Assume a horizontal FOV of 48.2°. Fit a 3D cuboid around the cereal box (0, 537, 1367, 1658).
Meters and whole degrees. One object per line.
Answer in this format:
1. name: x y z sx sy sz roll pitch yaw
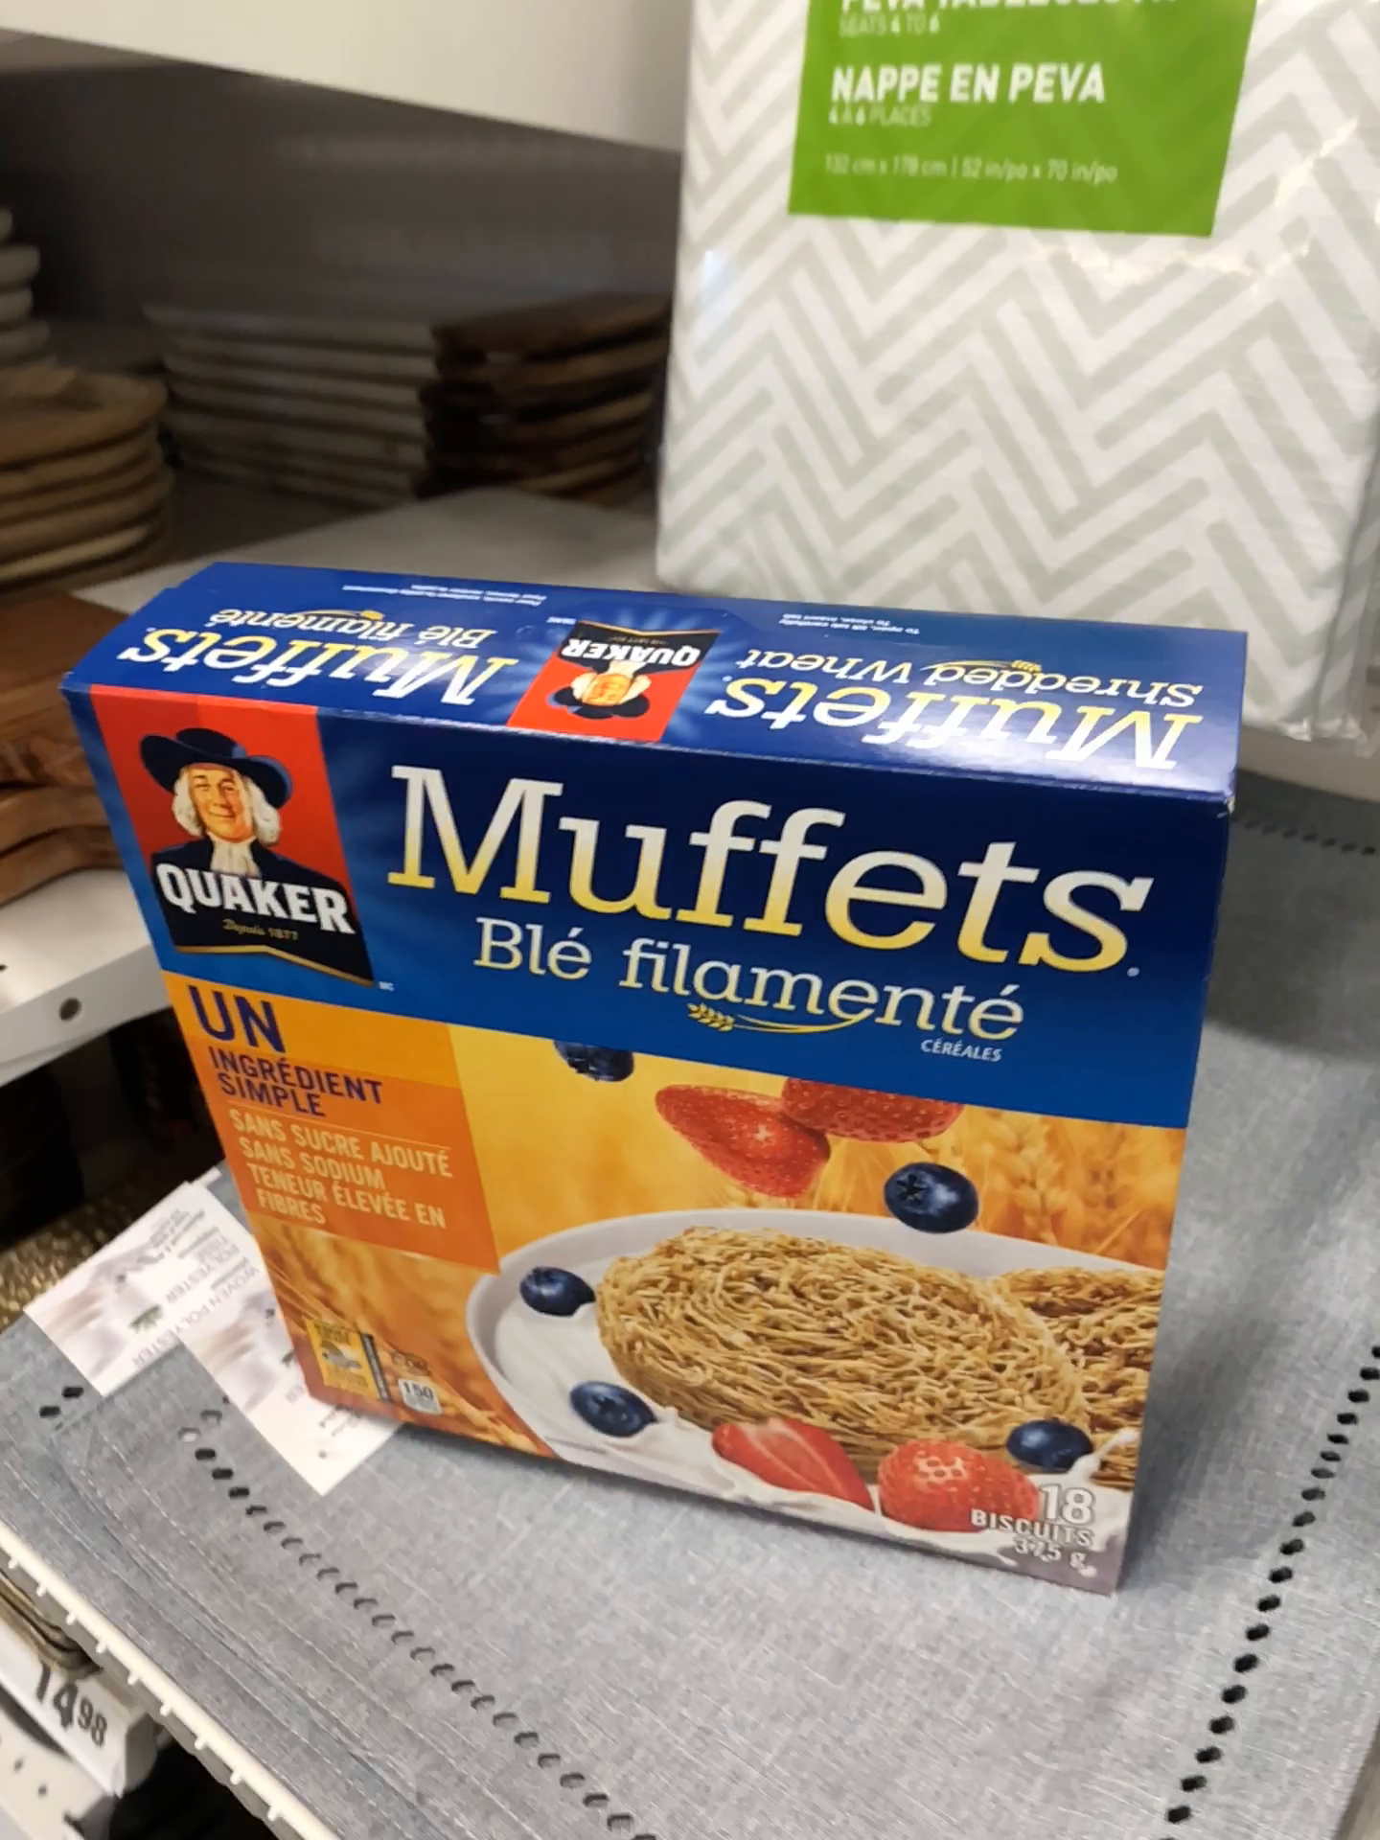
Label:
1. cereal box: -0.001 0.042 0.352 0.250 0.229 0.060 9 37 19
